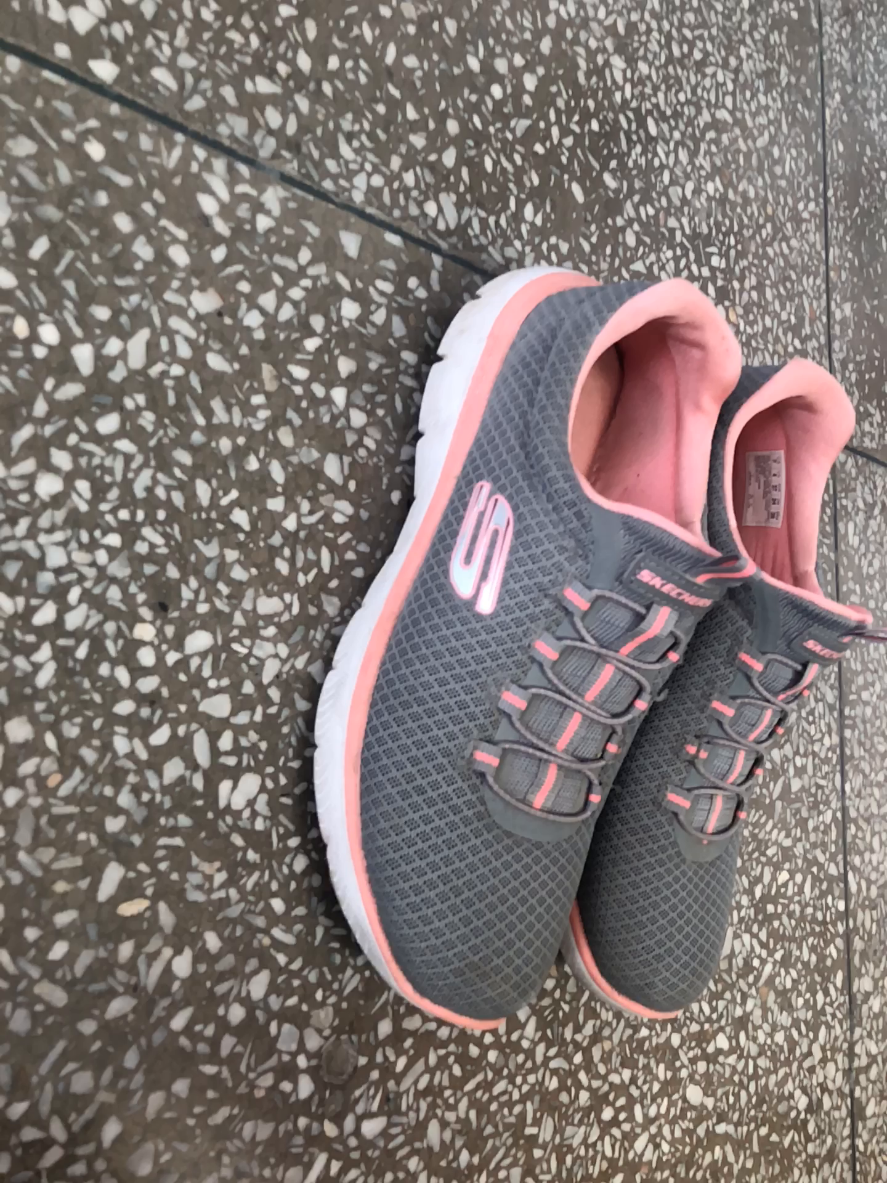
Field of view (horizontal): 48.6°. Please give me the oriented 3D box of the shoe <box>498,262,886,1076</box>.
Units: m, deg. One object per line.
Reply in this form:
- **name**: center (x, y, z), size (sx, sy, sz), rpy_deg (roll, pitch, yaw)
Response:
- **shoe**: center (0.110, 0.030, 0.362), size (0.102, 0.108, 0.246), rpy_deg (20, 71, -38)

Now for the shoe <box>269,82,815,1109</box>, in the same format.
- **shoe**: center (0.037, 0.002, 0.296), size (0.097, 0.094, 0.252), rpy_deg (20, 71, -38)
